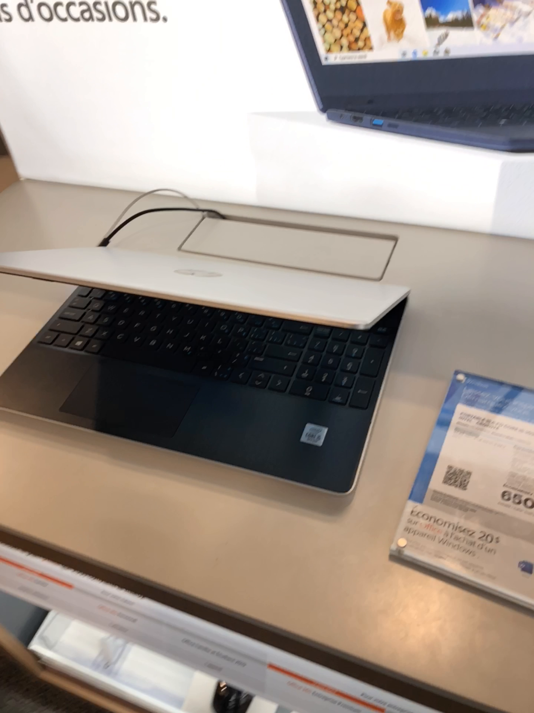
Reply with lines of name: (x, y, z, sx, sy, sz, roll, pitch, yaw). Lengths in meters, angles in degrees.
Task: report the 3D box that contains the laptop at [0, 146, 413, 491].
laptop: (-0.072, -0.058, 0.518, 0.346, 0.131, 0.230, 11, 48, 19)
